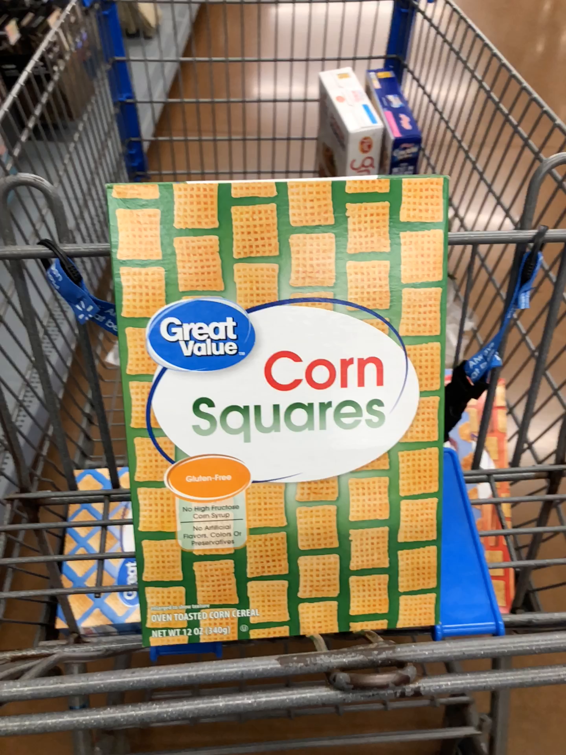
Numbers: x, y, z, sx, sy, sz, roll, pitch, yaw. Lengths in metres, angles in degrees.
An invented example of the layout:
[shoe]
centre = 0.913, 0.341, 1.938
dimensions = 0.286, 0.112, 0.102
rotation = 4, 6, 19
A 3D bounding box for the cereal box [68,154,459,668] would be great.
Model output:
[cereal box]
centre = -0.004, 0.020, 0.380
dimensions = 0.200, 0.280, 0.070
rotation = -3, 11, -4
